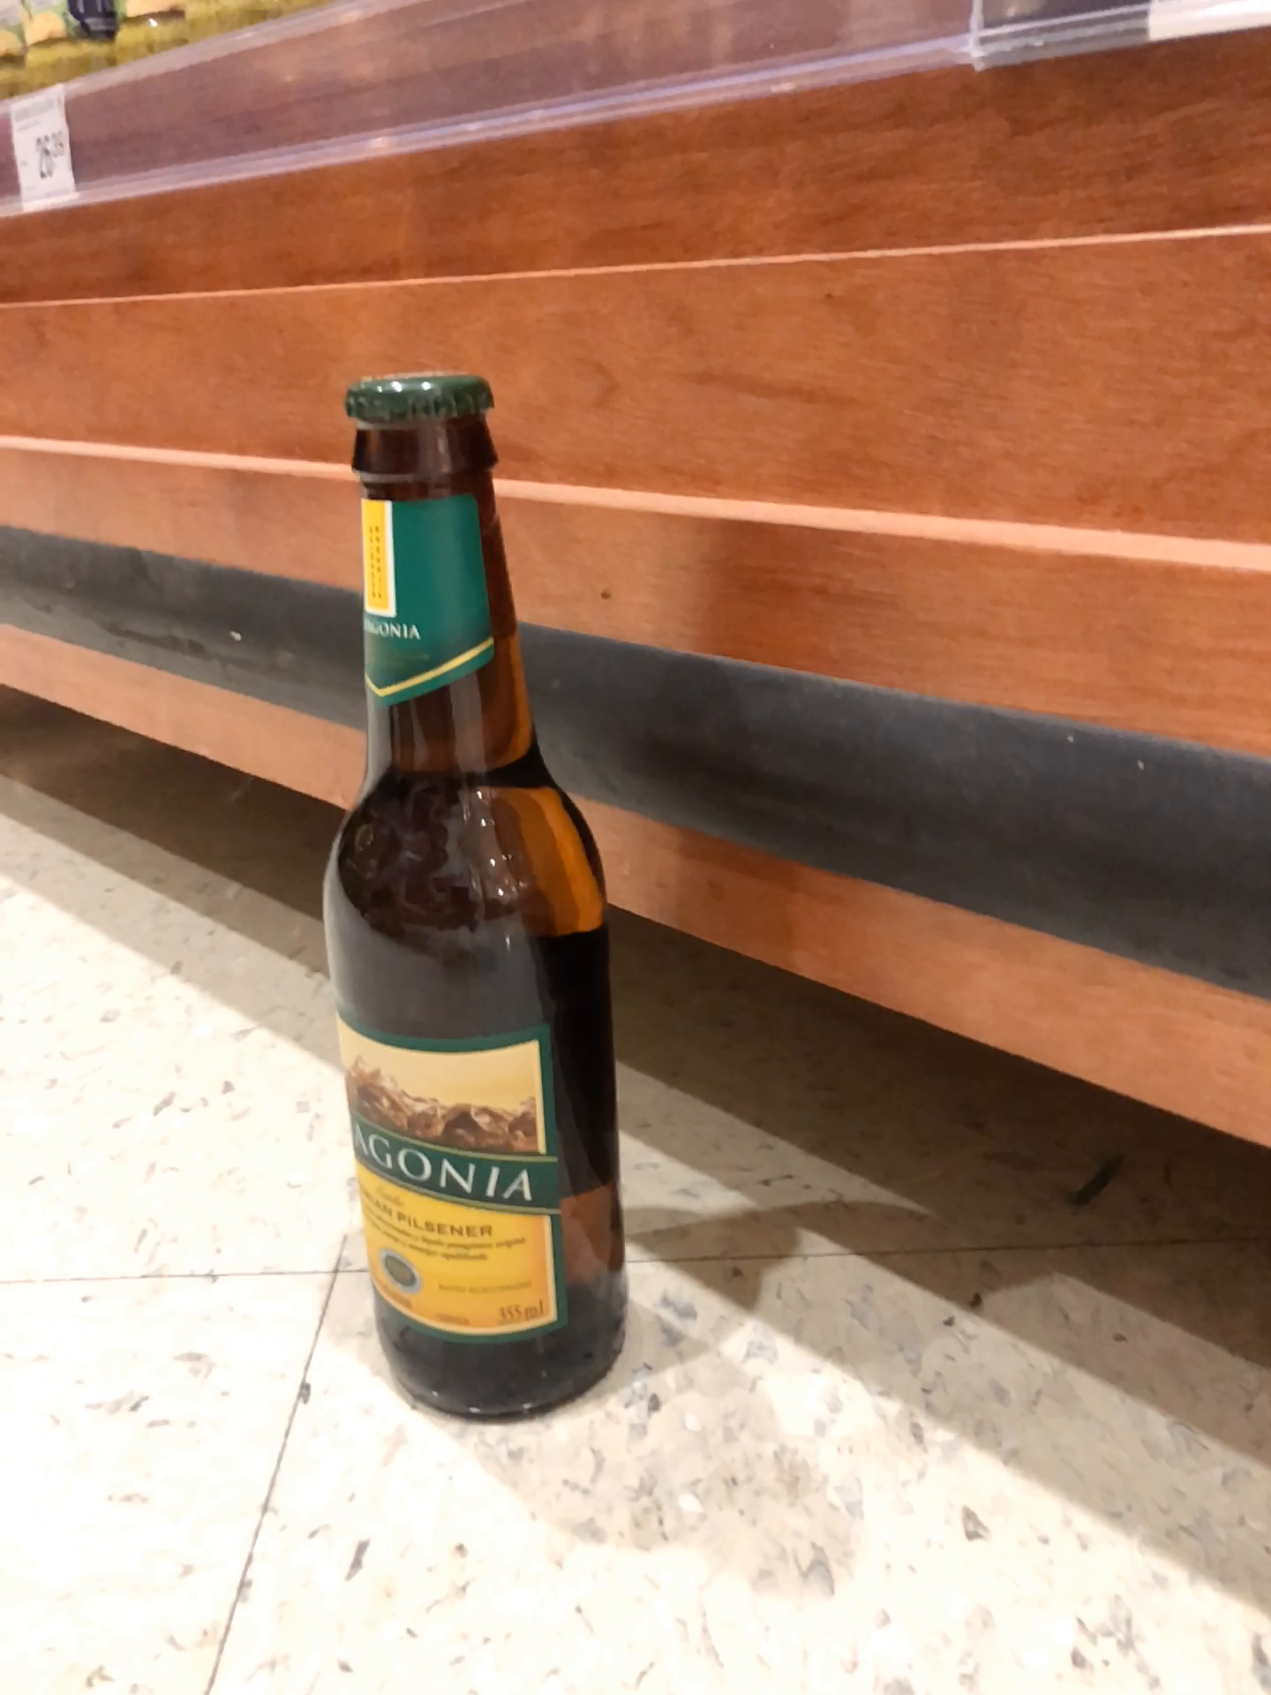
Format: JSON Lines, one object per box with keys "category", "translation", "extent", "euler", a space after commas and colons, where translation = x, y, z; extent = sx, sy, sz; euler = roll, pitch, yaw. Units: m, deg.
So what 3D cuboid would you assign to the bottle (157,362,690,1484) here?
{"category": "bottle", "translation": [-0.039, 0.014, 0.299], "extent": [0.060, 0.219, 0.070], "euler": [-22, 28, -40]}
